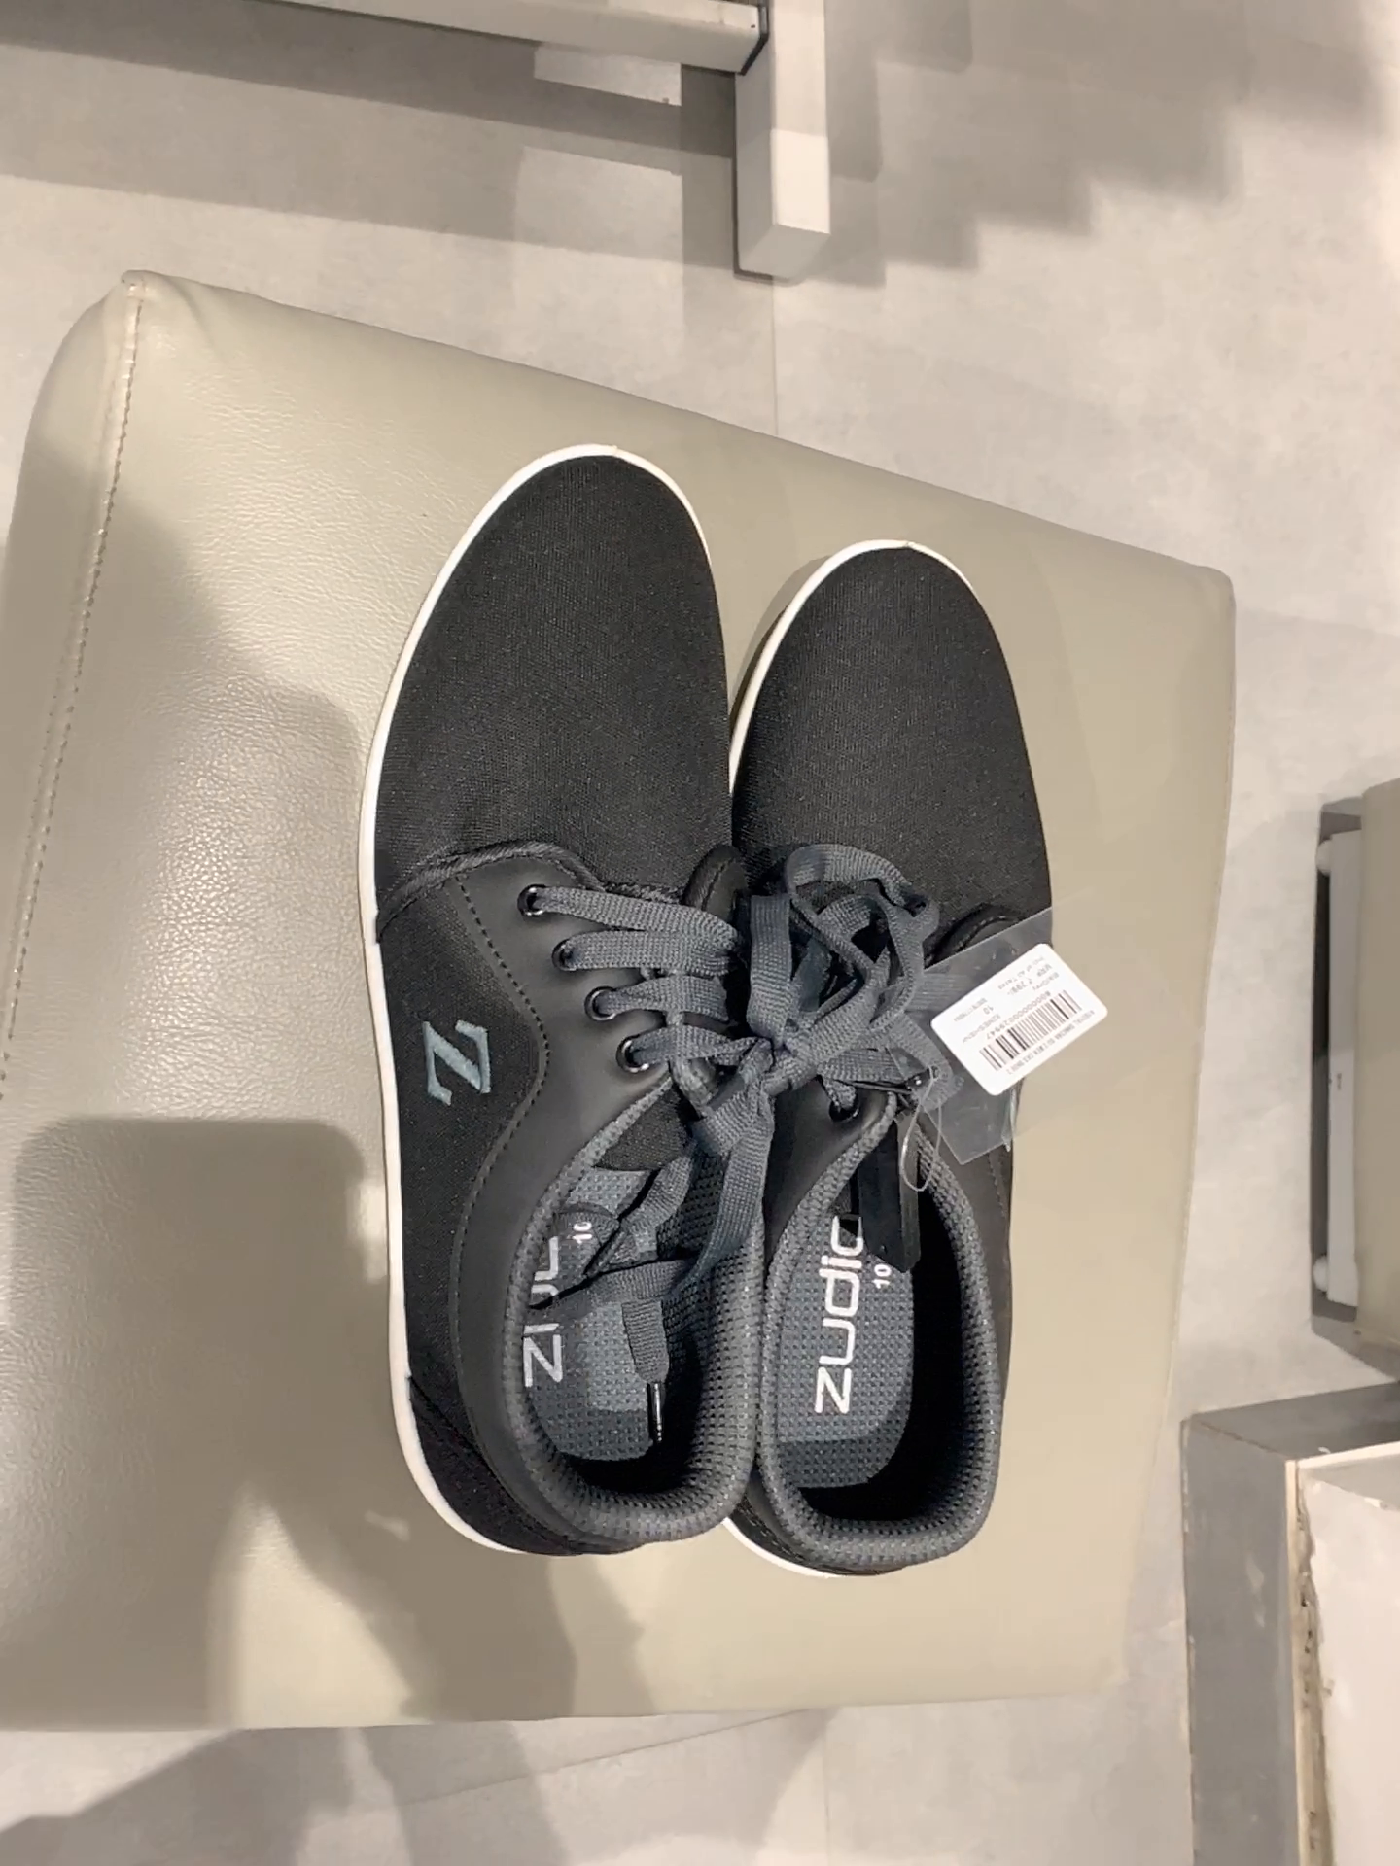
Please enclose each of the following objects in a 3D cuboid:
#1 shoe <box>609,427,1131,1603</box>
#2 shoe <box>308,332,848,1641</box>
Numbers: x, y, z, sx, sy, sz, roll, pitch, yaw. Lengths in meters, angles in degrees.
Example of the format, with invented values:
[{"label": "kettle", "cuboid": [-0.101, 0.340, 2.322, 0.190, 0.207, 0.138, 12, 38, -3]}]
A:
[{"label": "shoe", "cuboid": [0.043, 0.022, 0.402, 0.100, 0.100, 0.280, 5, 86, -14]}, {"label": "shoe", "cuboid": [-0.035, 0.013, 0.360, 0.100, 0.100, 0.270, 3, 87, -21]}]
